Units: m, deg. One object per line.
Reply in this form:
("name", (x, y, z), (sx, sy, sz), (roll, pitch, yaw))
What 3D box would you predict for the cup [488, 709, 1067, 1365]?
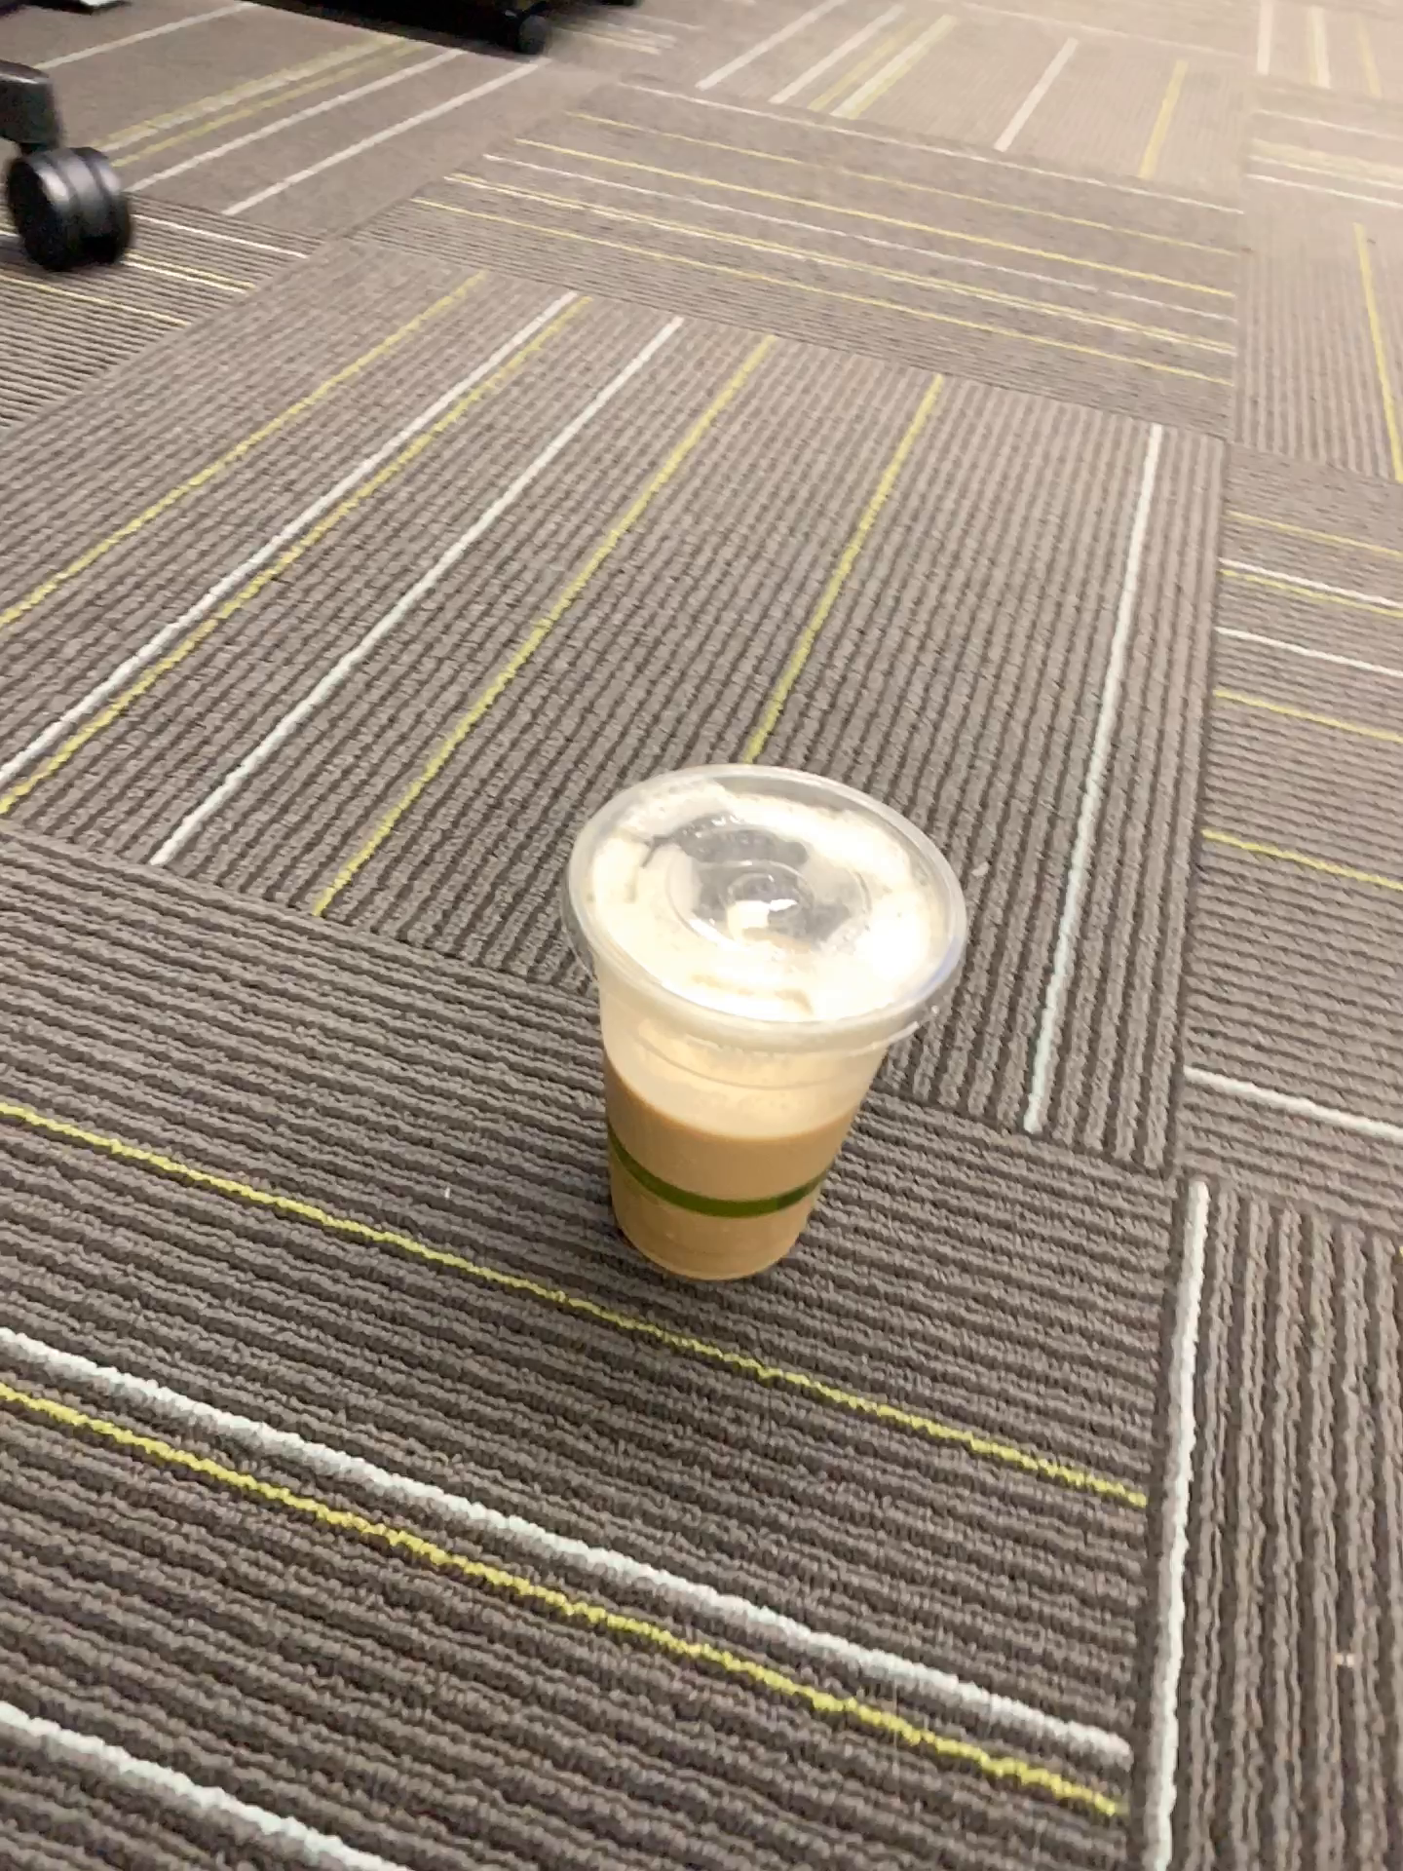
("cup", (0.010, 0.023, 0.371), (0.100, 0.109, 0.100), (5, 42, -4))
